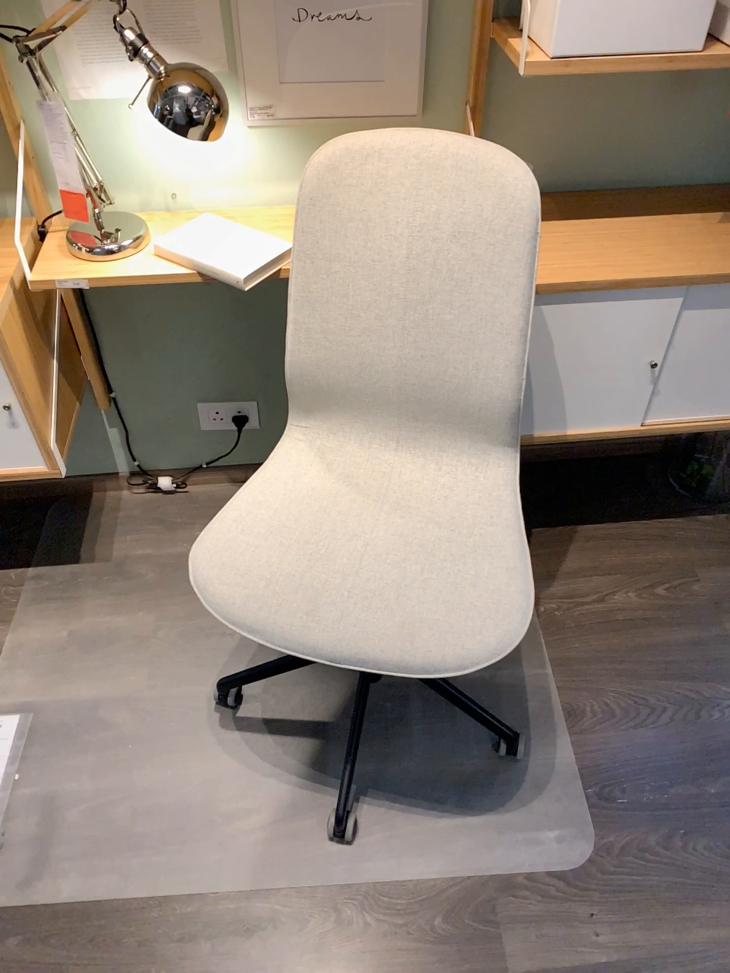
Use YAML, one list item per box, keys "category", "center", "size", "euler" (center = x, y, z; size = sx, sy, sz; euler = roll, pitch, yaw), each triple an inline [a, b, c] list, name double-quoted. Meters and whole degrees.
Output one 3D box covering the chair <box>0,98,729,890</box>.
- category: "chair"
  center: [0.047, 0.049, 1.143]
  size: [0.620, 0.966, 0.622]
  euler: [11, 46, 11]
